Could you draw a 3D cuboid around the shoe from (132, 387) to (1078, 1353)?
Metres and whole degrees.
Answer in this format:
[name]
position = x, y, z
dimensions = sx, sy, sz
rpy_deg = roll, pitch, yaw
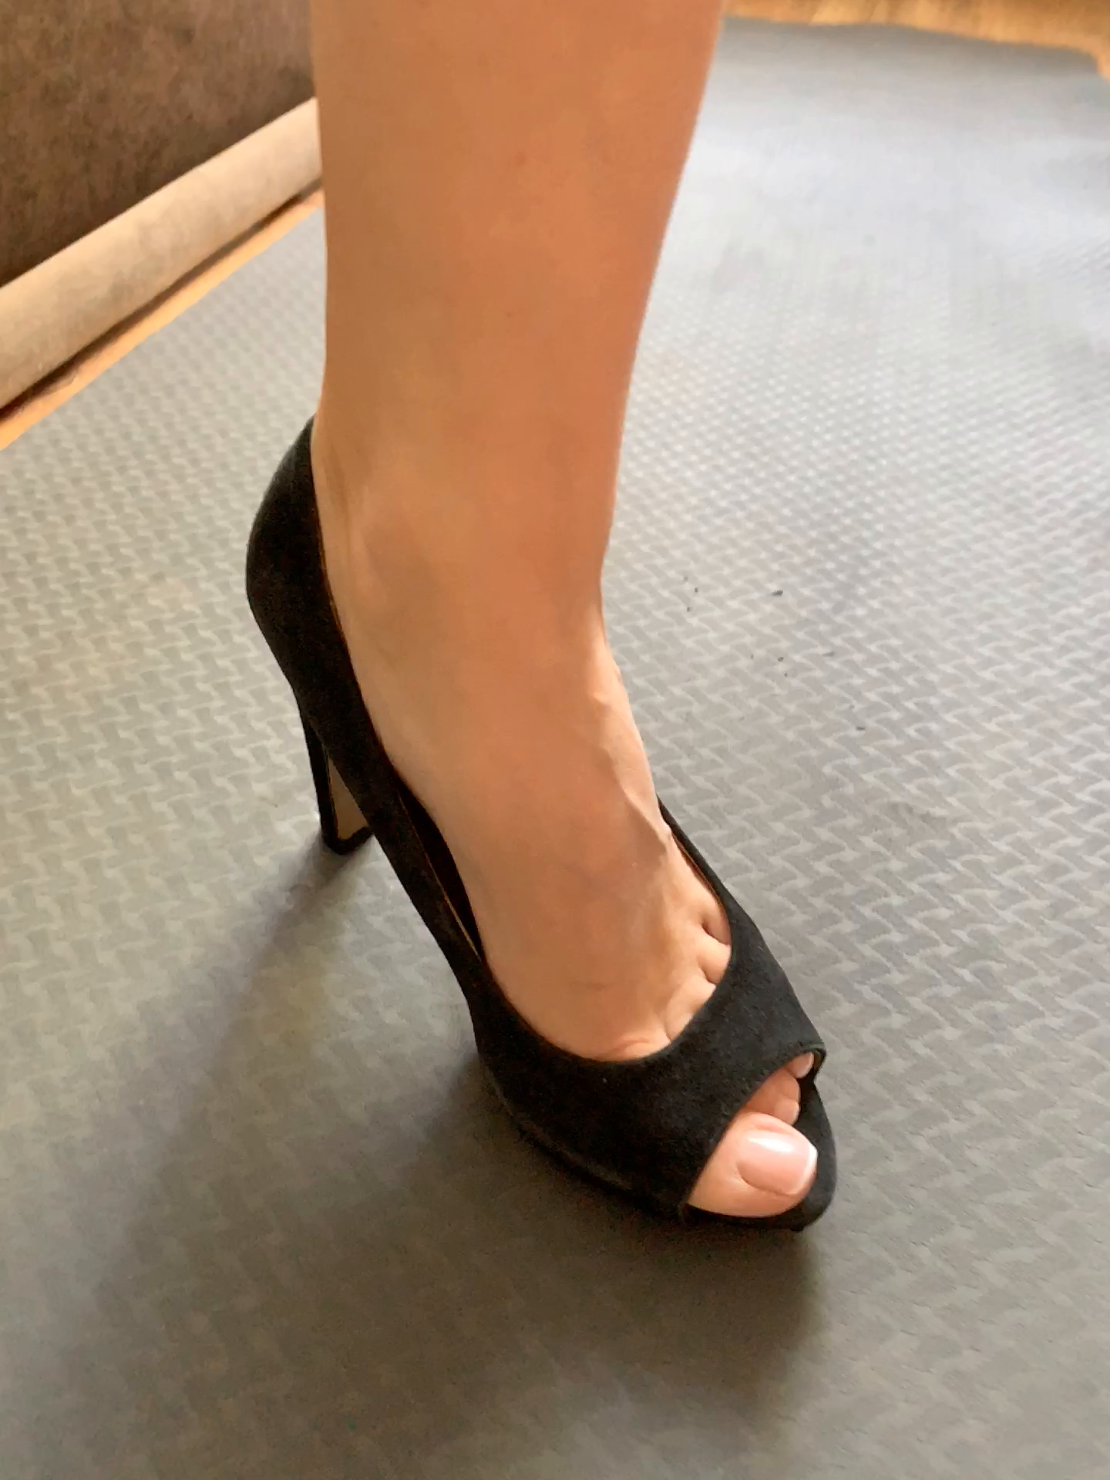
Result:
[shoe]
position = -0.003, 0.021, 0.305
dimensions = 0.090, 0.139, 0.211
rpy_deg = -32, 52, -31
